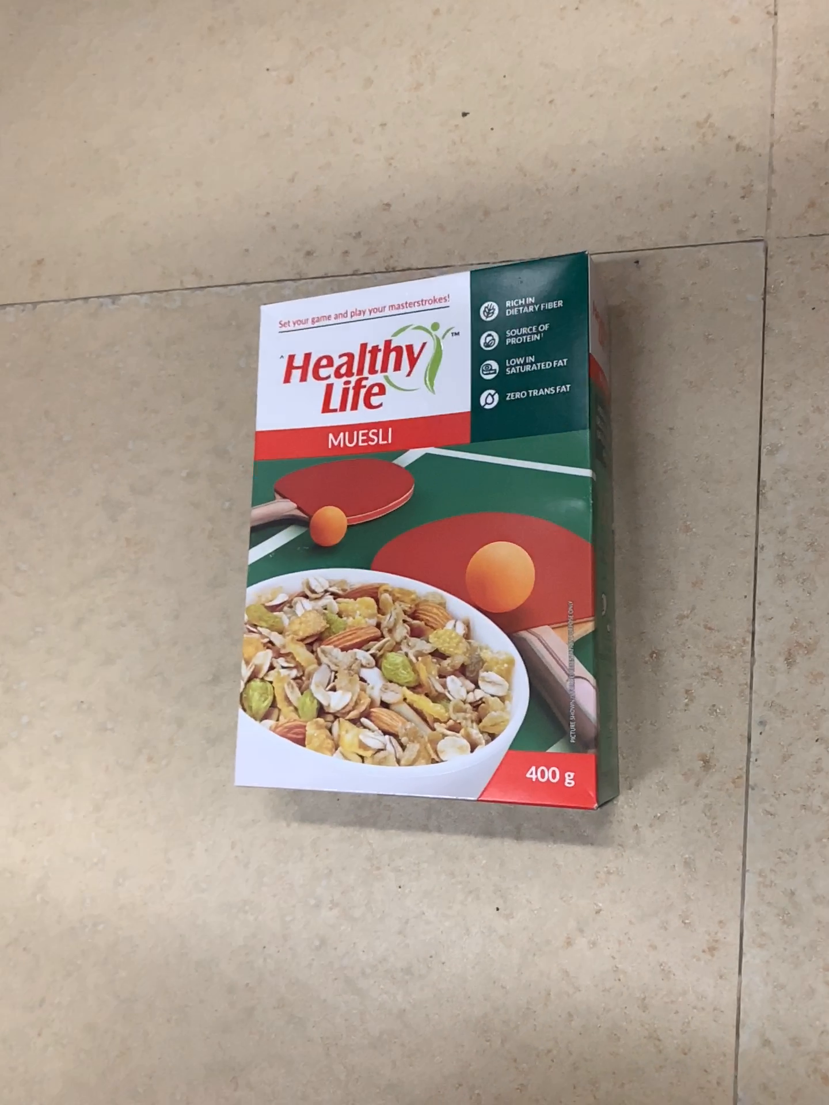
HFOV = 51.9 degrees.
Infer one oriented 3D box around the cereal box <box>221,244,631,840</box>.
[{"bbox_3d":[0.010,-0.001,0.387,0.160,0.080,0.230,-2,80,19],"label":"cereal box"}]
